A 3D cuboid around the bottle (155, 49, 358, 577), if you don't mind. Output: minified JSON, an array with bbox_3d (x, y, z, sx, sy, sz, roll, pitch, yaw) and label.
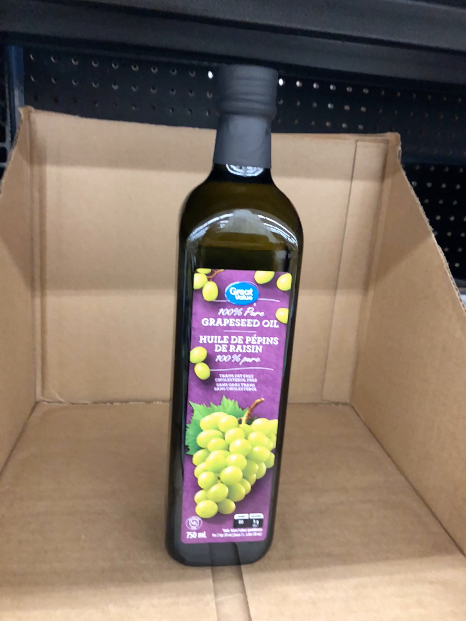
[{"bbox_3d":[0.001,0.014,0.292,0.080,0.278,0.060,2,18,-9],"label":"bottle"}]
